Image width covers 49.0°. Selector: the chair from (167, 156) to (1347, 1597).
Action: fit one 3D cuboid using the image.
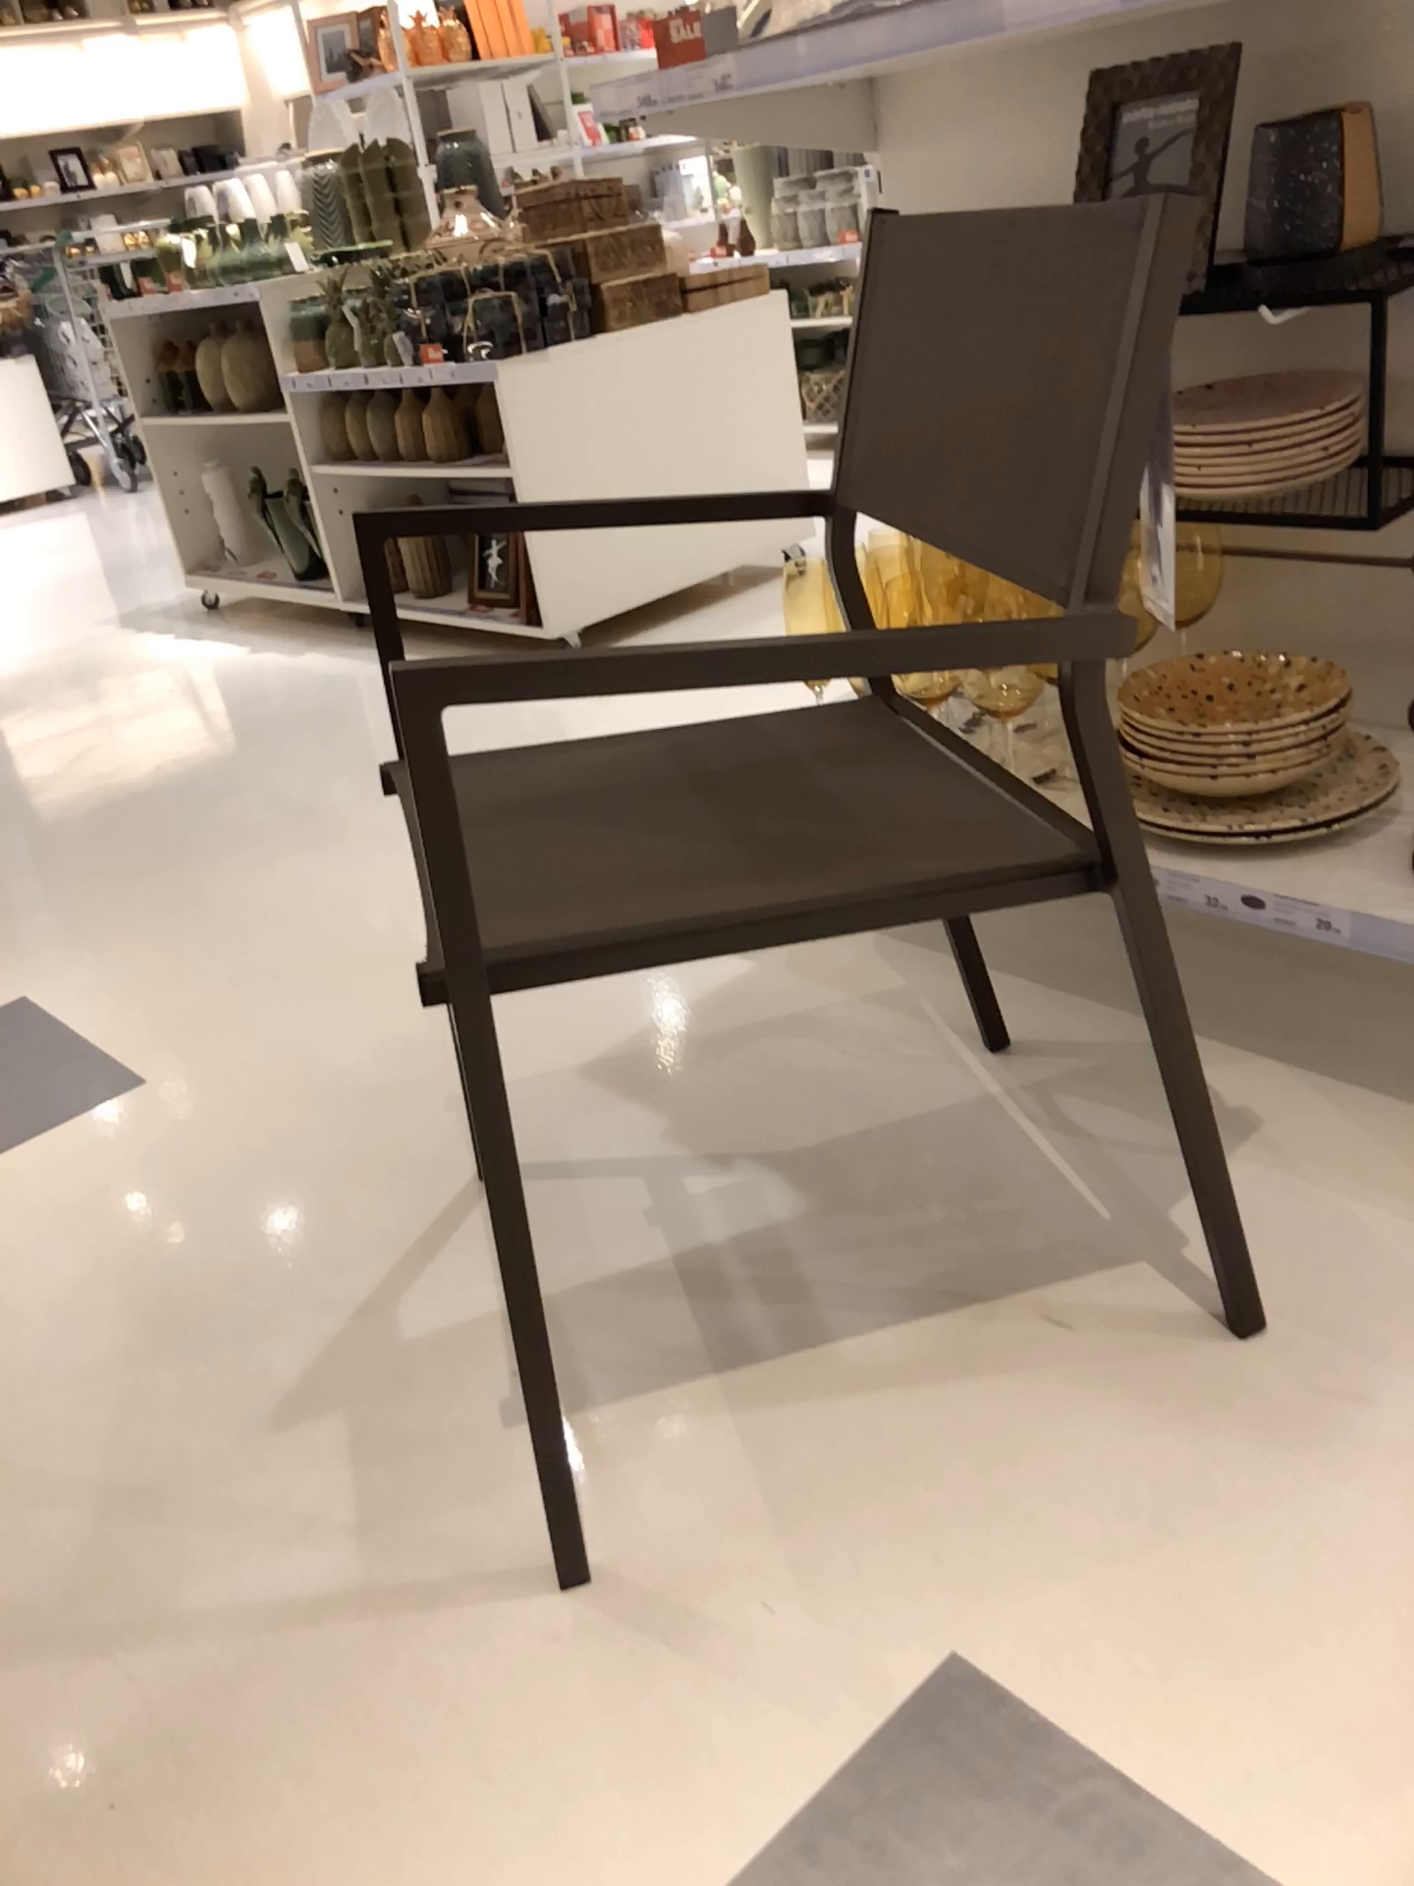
[{"bbox_3d":[0.034,-0.096,1.149,0.580,0.764,0.574,-14,26,-8],"label":"chair"}]
